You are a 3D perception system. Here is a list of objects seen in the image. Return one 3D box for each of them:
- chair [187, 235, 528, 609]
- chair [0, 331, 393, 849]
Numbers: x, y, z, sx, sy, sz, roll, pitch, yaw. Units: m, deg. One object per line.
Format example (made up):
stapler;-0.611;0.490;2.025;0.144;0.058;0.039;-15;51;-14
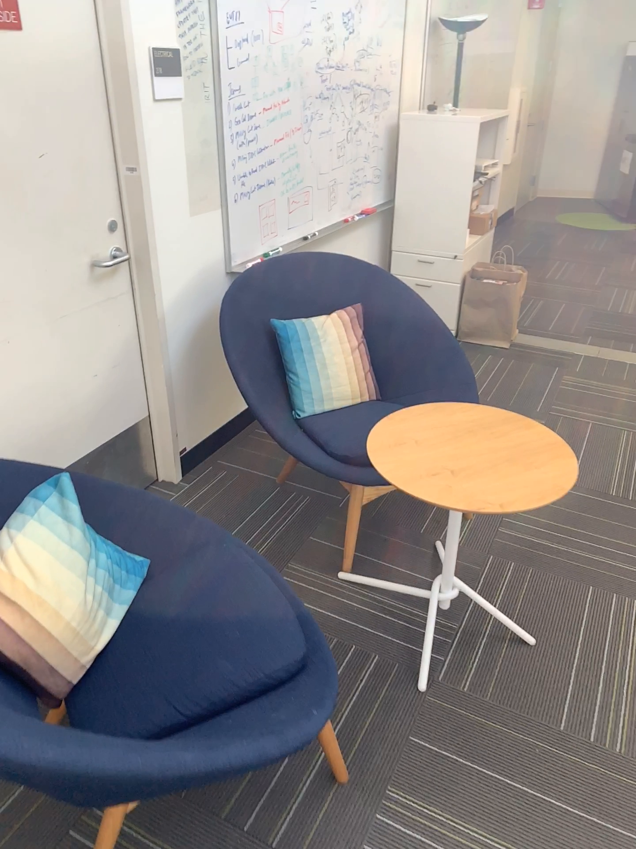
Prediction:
chair;0.067;-0.100;2.473;0.830;0.944;0.986;-11;31;-20
chair;-0.435;0.388;1.378;0.840;0.835;0.795;-13;31;-23
